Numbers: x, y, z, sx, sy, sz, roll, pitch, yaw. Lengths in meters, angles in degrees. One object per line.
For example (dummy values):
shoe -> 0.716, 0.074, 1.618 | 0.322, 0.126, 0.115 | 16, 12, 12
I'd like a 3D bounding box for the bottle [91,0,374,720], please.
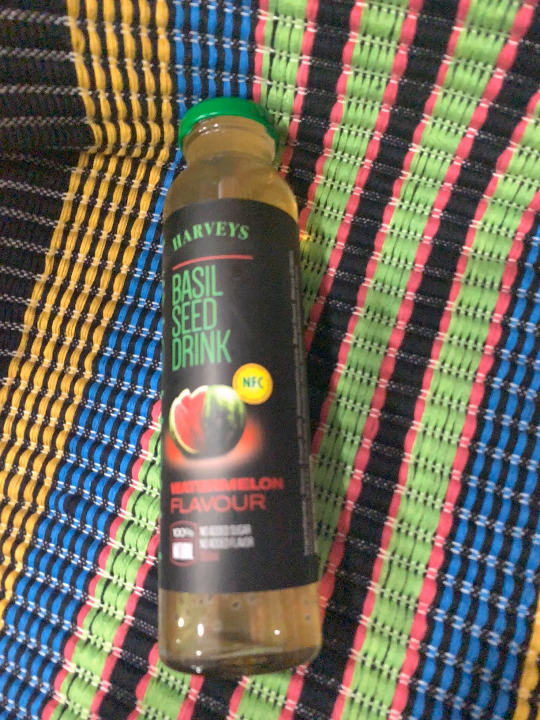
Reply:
bottle -> -0.012, -0.005, 0.183 | 0.060, 0.060, 0.200 | -9, 75, 25
